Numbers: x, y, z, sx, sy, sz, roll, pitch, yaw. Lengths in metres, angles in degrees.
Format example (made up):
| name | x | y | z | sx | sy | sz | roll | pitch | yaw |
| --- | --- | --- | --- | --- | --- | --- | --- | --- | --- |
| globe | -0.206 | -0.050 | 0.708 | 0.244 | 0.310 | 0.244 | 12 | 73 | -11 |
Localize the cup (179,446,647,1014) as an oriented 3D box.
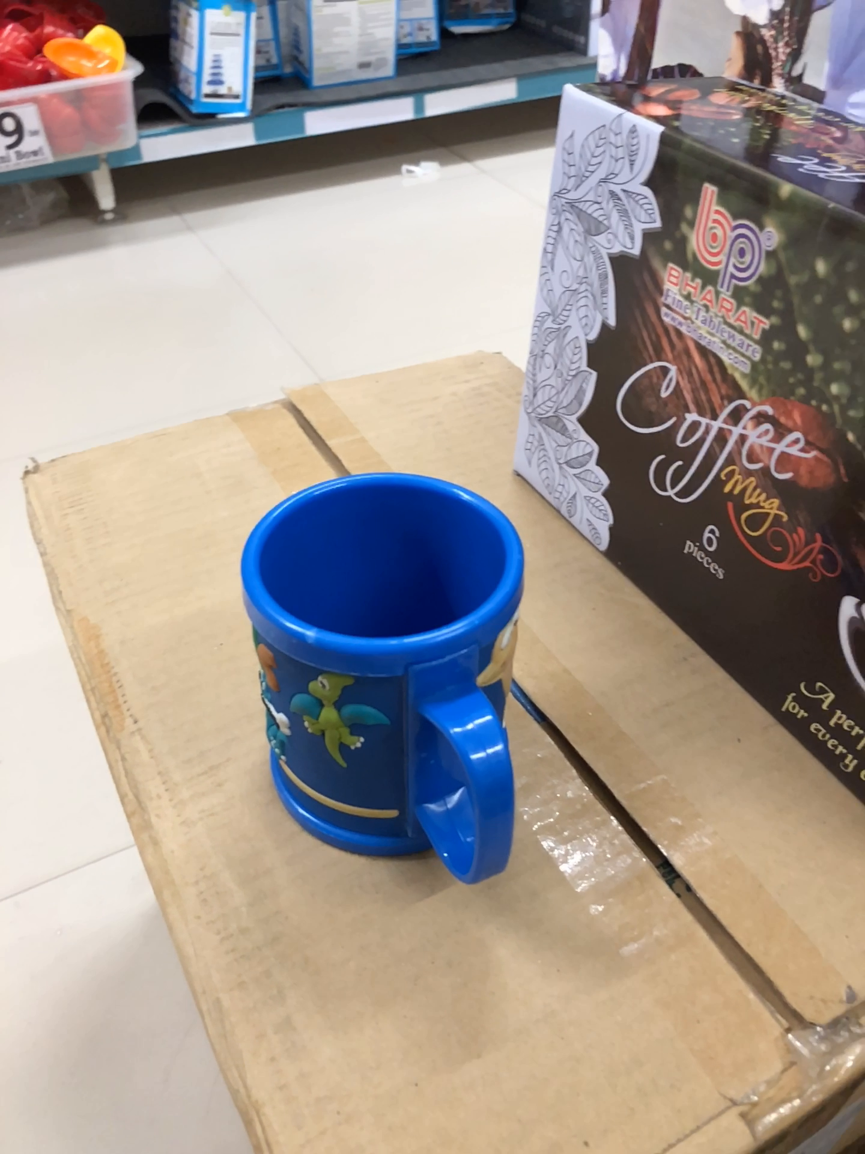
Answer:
| name | x | y | z | sx | sy | sz | roll | pitch | yaw |
| --- | --- | --- | --- | --- | --- | --- | --- | --- | --- |
| cup | -0.012 | 0.038 | 0.289 | 0.090 | 0.089 | 0.121 | -15 | 43 | -16 |
